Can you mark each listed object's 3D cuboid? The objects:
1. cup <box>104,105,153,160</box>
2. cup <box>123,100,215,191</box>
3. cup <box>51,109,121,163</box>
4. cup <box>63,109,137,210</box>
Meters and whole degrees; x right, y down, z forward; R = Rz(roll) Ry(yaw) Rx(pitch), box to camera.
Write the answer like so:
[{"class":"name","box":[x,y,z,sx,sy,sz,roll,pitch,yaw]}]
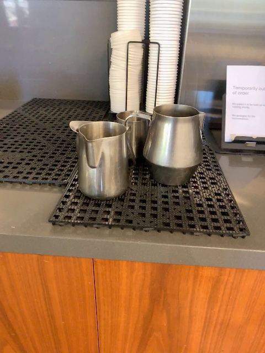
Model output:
[{"class":"cup","box":[-0.005,-0.093,0.556,0.070,0.070,0.111,9,30,13]},{"class":"cup","box":[0.067,-0.063,0.503,0.140,0.119,0.100,11,30,15]},{"class":"cup","box":[-0.087,-0.081,0.530,0.110,0.070,0.070,11,31,16]},{"class":"cup","box":[-0.047,-0.034,0.457,0.080,0.119,0.121,8,30,12]}]
